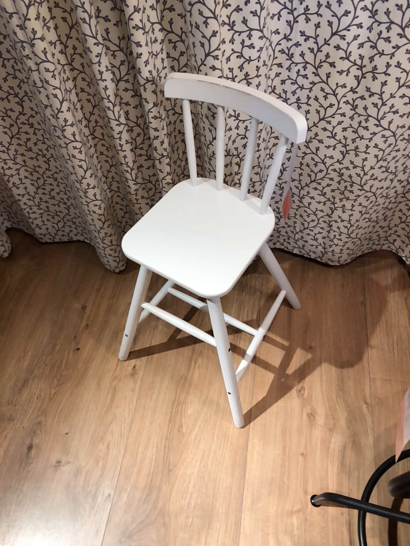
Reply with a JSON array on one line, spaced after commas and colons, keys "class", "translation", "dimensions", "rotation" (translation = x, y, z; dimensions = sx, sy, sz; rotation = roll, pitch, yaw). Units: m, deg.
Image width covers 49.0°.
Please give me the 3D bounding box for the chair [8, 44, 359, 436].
[{"class": "chair", "translation": [0.002, -0.031, 1.044], "dimensions": [0.421, 0.706, 0.452], "rotation": [24, 59, 20]}]
